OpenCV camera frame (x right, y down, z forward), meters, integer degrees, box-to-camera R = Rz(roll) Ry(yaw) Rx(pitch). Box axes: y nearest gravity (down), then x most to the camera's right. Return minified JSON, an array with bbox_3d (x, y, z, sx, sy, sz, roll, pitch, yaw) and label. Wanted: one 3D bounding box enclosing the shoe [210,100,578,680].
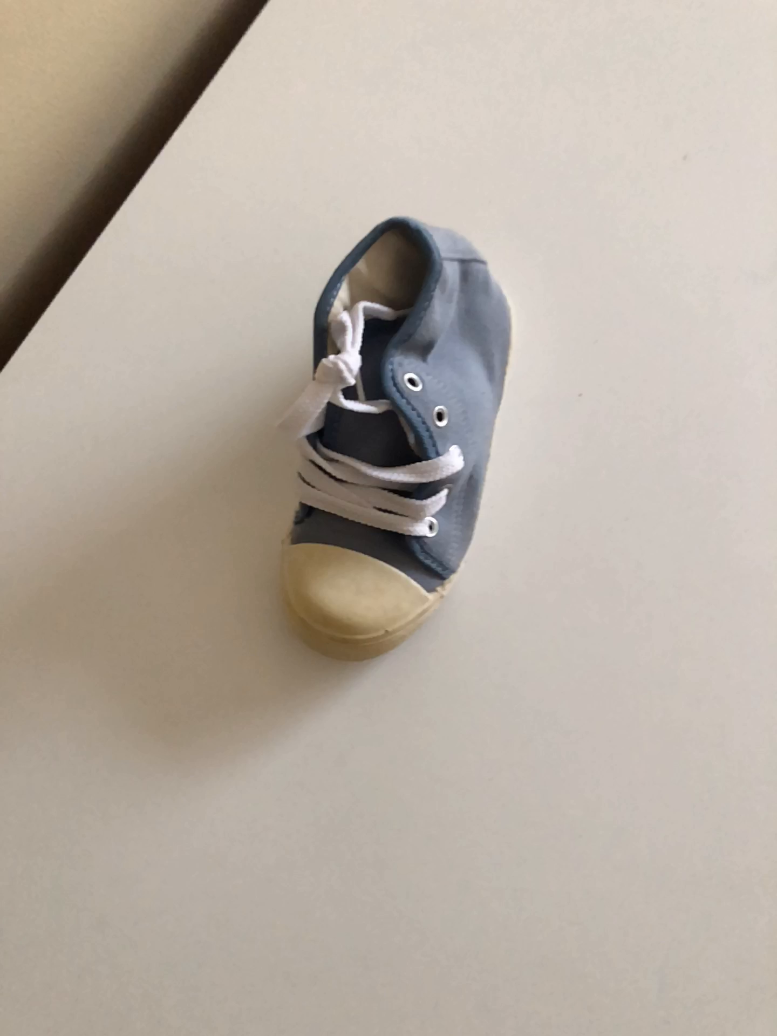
[{"bbox_3d":[0.006,-0.041,0.339,0.080,0.100,0.190,14,78,3],"label":"shoe"}]
